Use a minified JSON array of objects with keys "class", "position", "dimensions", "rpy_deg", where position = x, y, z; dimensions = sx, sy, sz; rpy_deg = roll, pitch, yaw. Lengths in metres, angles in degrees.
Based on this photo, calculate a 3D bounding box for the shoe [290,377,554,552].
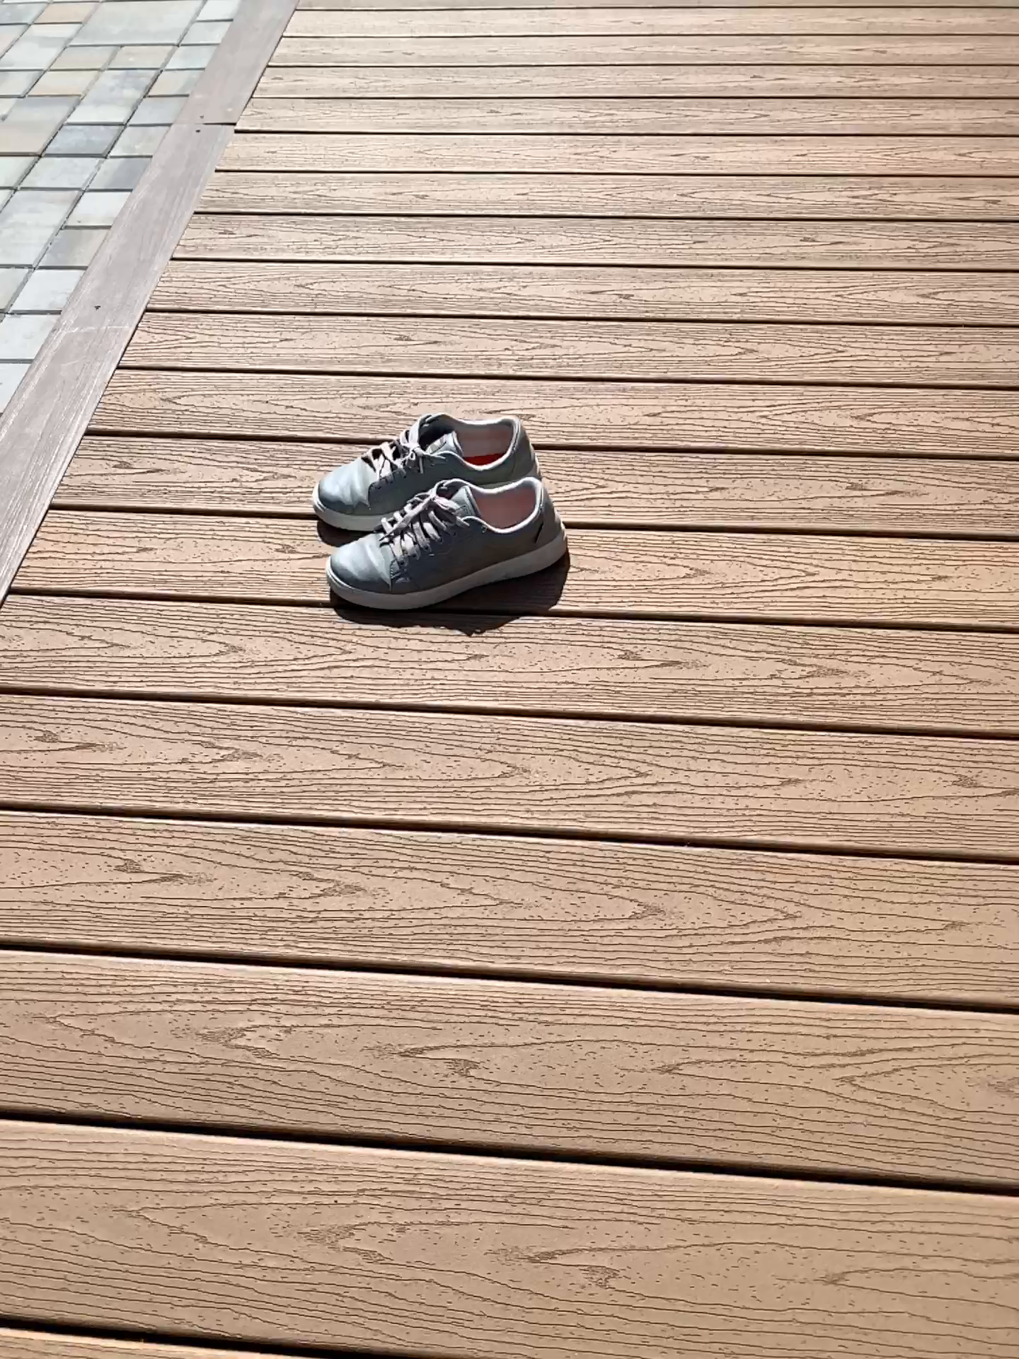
[{"class":"shoe","position":[-0.100,-0.252,1.210],"dimensions":[0.280,0.100,0.120],"rpy_deg":[-12,52,-7]}]

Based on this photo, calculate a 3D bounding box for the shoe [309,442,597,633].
[{"class":"shoe","position":[-0.062,-0.160,1.155],"dimensions":[0.290,0.100,0.120],"rpy_deg":[-13,52,-8]}]
